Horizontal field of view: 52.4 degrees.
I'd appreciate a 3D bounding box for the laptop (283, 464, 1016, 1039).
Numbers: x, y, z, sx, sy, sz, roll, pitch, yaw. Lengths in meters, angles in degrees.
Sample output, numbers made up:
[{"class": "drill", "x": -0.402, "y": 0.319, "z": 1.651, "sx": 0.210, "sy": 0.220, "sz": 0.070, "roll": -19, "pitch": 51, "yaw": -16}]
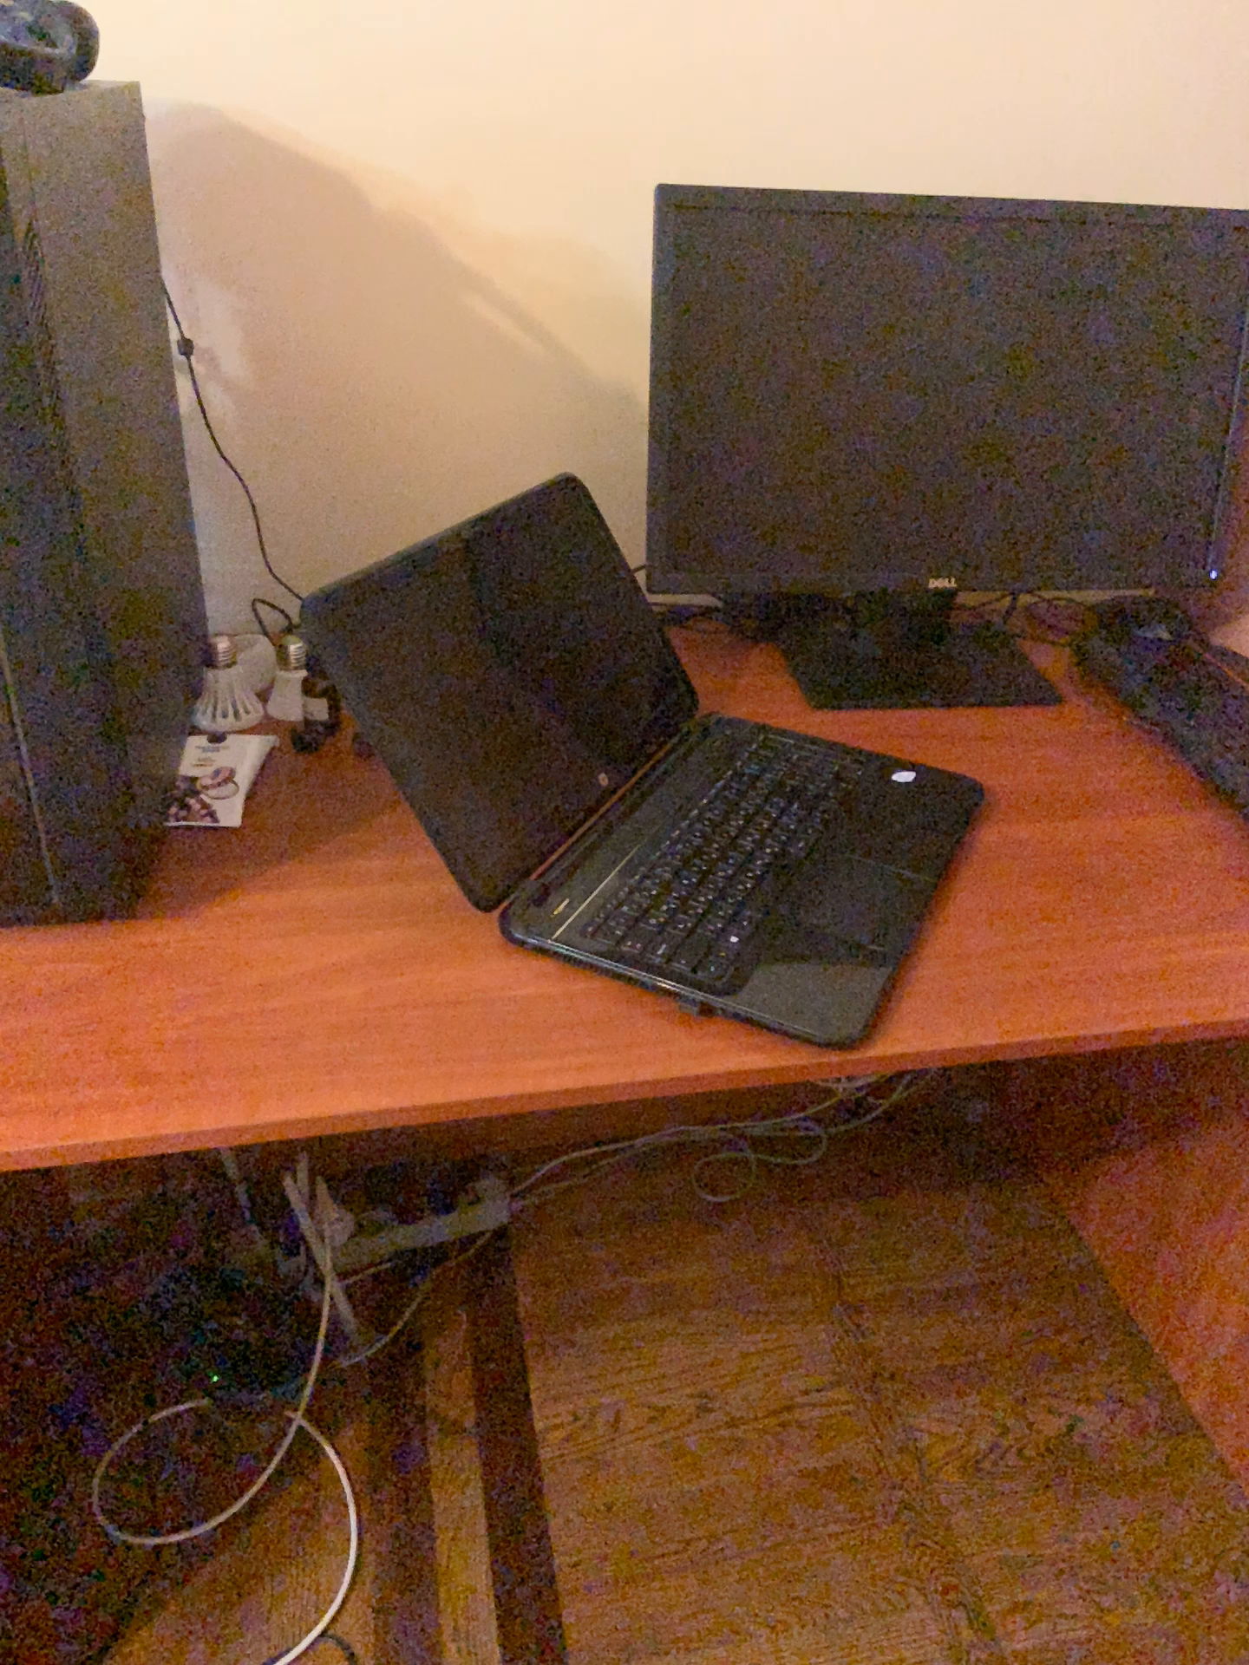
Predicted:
[{"class": "laptop", "x": 0.034, "y": -0.087, "z": 0.837, "sx": 0.358, "sy": 0.168, "sz": 0.333, "roll": 18, "pitch": 33, "yaw": 18}]
